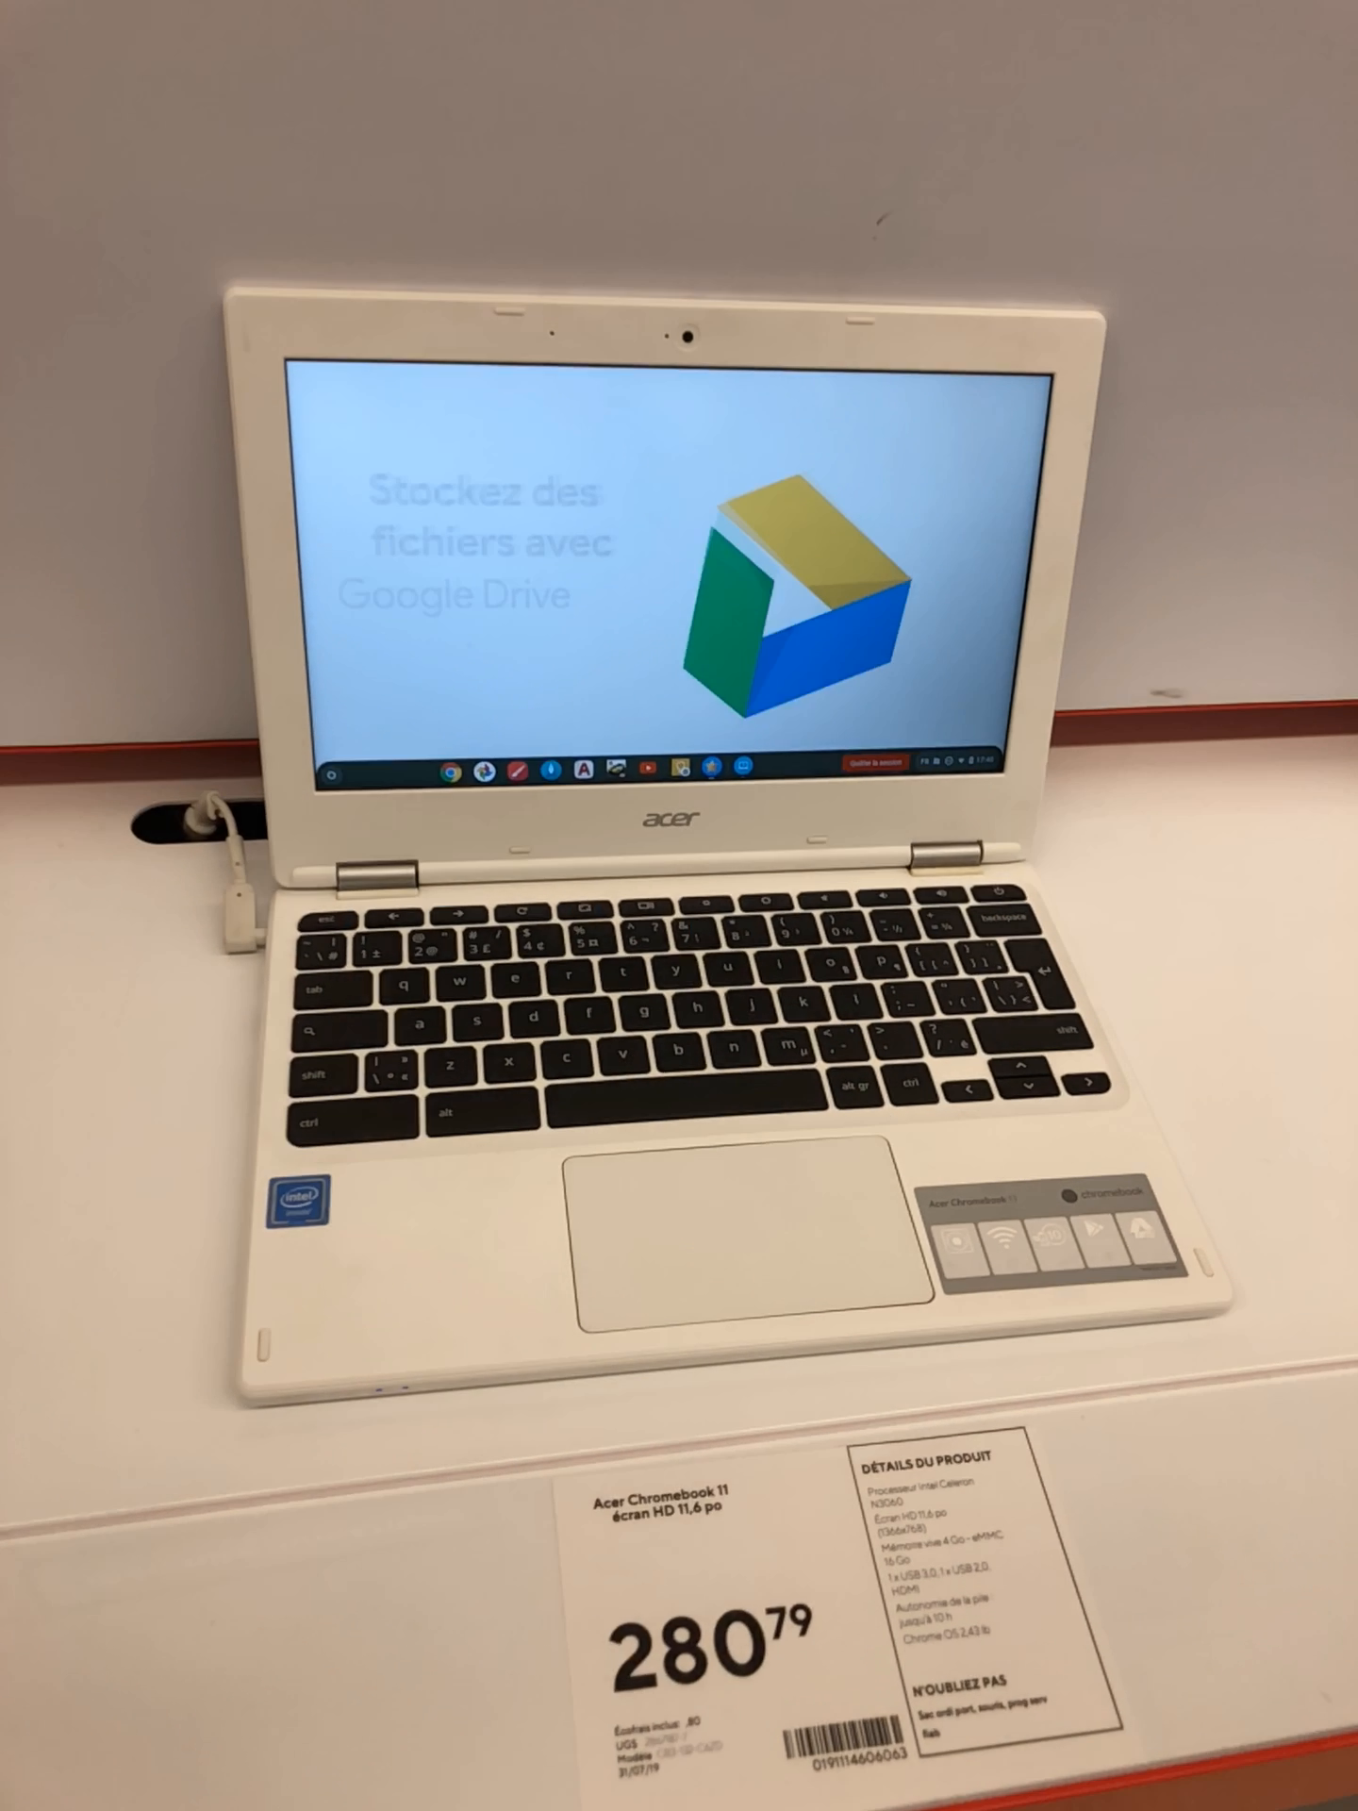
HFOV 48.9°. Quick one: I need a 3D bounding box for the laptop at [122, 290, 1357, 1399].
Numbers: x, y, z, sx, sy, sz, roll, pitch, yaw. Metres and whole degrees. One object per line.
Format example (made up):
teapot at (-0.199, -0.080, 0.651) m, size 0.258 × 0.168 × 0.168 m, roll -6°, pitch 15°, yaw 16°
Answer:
laptop at (0.013, -0.034, 0.446) m, size 0.282 × 0.188 × 0.260 m, roll -3°, pitch 44°, yaw -10°
